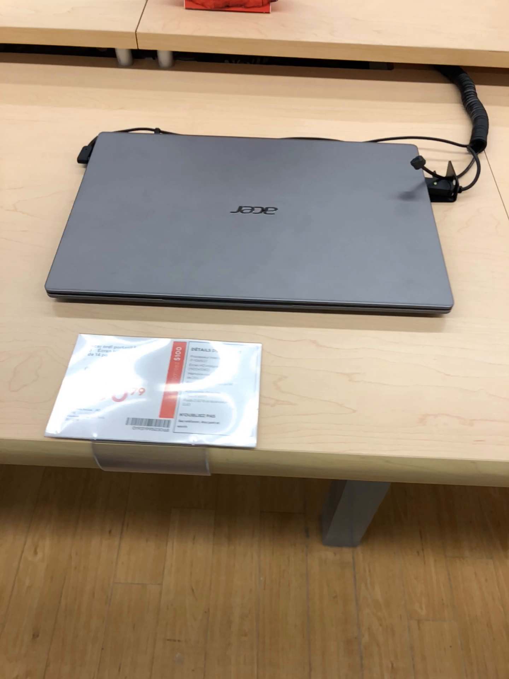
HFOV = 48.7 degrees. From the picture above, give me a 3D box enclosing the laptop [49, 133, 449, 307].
[{"bbox_3d":[-0.001,-0.113,0.491,0.306,0.001,0.201,3,53,0],"label":"laptop"}]
